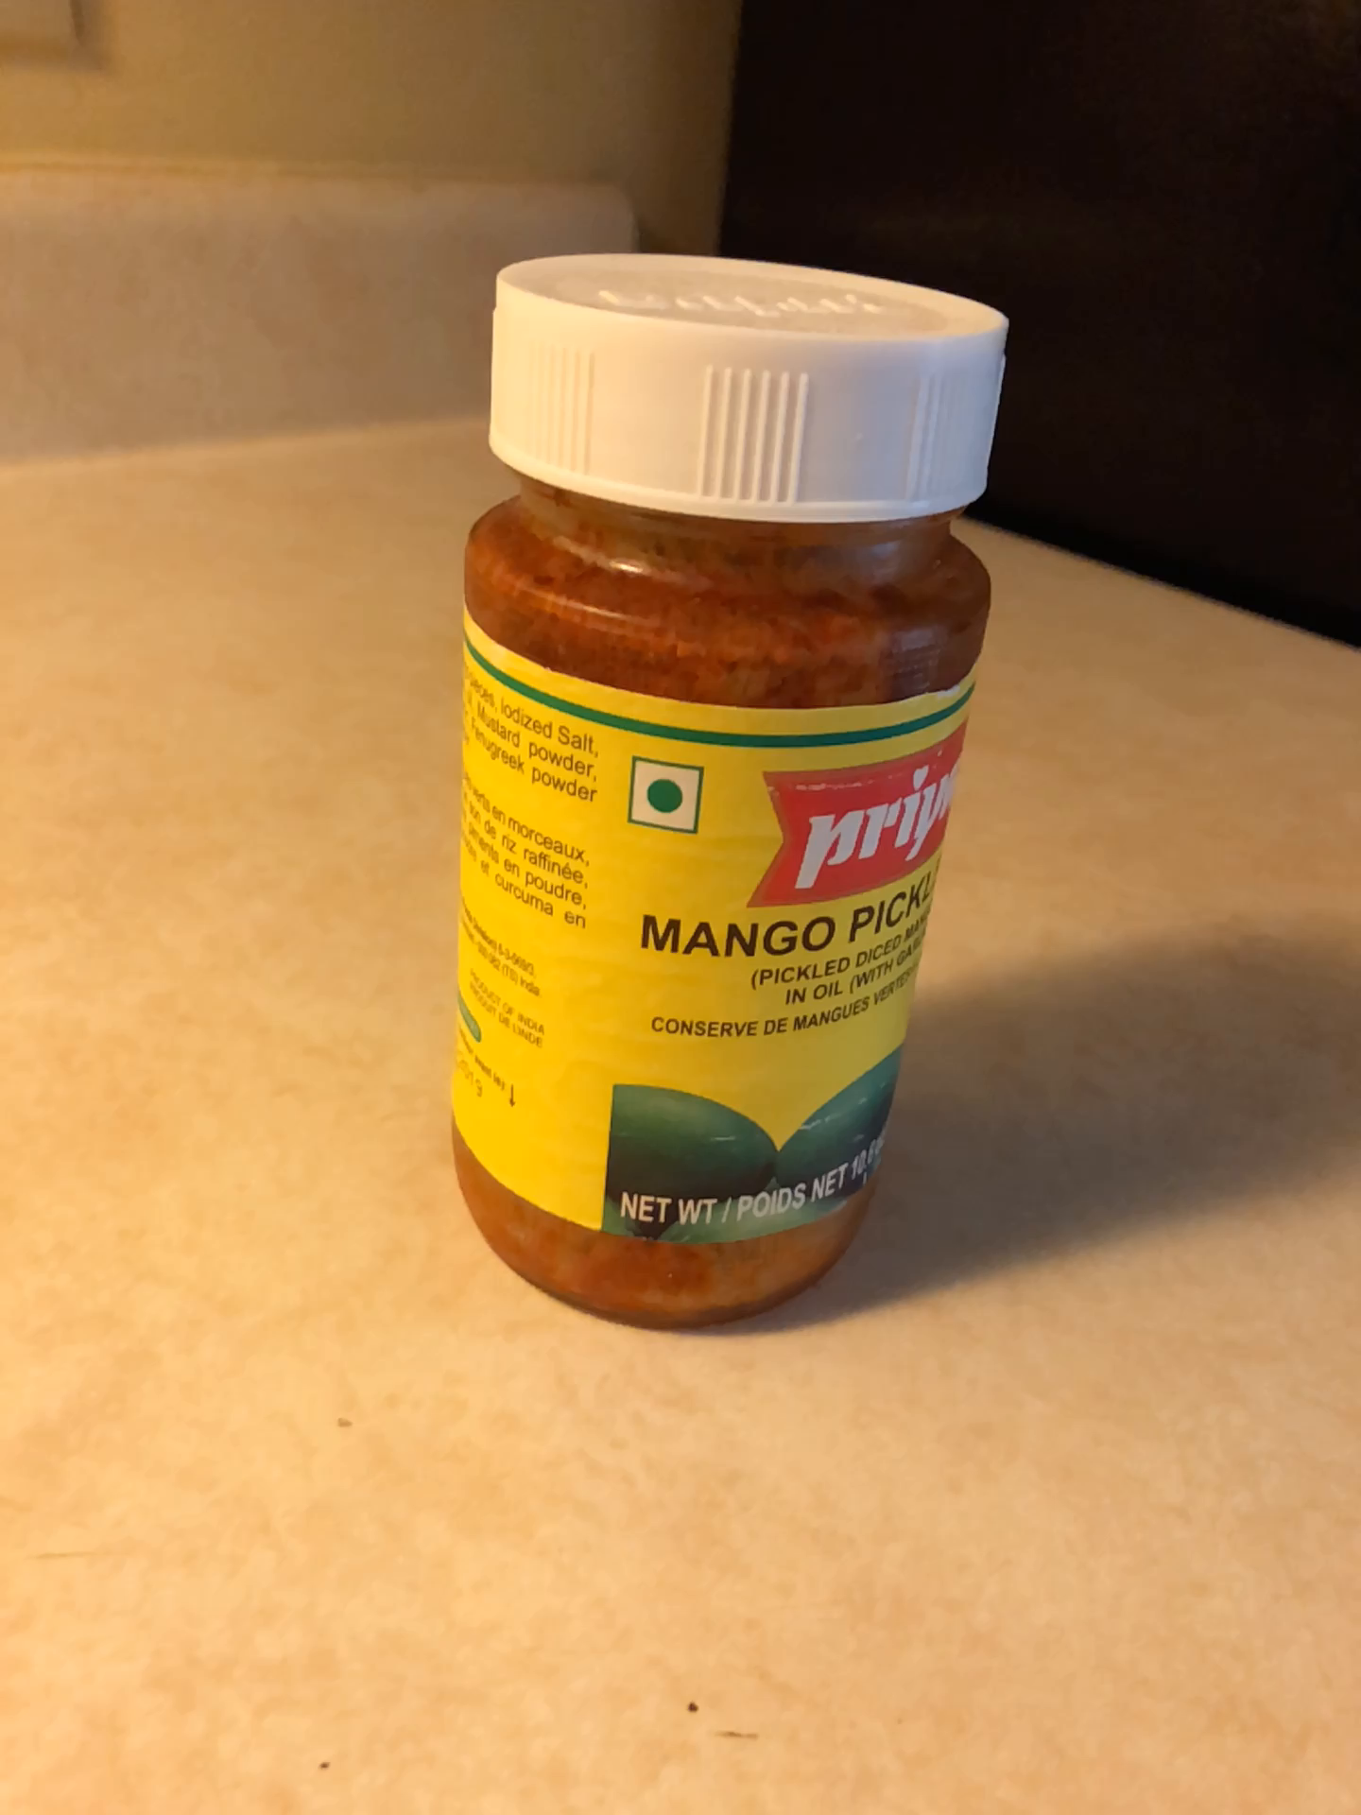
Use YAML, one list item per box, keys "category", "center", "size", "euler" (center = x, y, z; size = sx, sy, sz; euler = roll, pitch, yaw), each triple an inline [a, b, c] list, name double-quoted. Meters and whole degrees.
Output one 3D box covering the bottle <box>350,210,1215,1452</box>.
- category: "bottle"
  center: [0.006, -0.013, 0.193]
  size: [0.070, 0.130, 0.060]
  euler: [-18, 36, -37]
